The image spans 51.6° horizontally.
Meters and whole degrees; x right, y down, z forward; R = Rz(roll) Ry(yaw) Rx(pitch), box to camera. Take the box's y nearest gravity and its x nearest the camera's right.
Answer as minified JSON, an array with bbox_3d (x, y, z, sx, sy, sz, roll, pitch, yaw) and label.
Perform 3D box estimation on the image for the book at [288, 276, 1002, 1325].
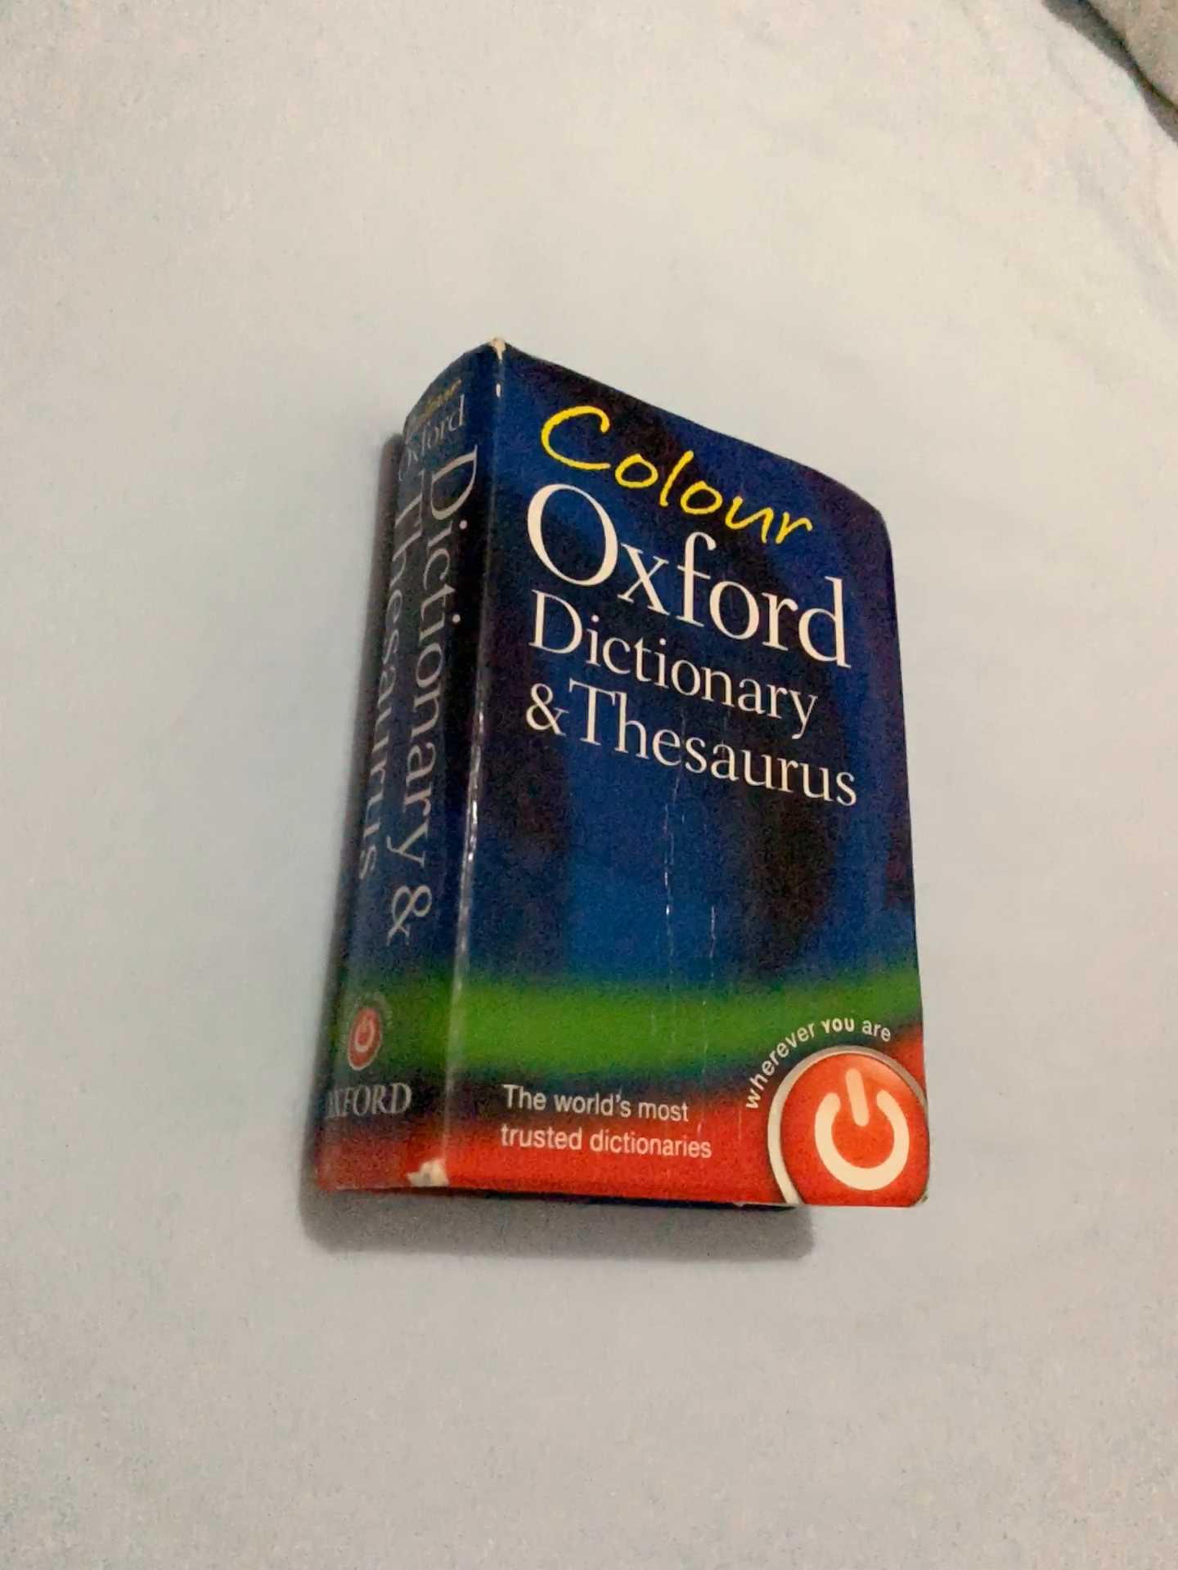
[{"bbox_3d":[0.017,0.006,0.242,0.120,0.040,0.181,12,69,-24],"label":"book"}]
